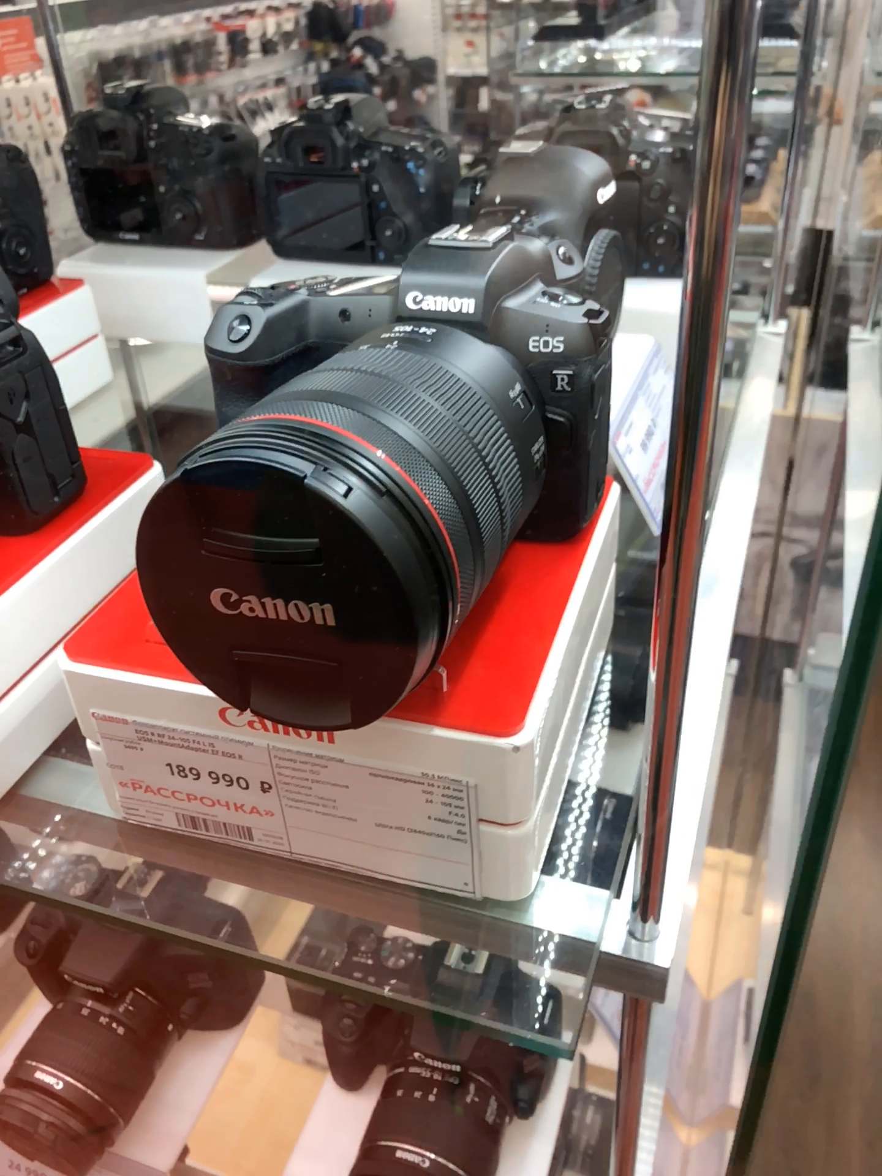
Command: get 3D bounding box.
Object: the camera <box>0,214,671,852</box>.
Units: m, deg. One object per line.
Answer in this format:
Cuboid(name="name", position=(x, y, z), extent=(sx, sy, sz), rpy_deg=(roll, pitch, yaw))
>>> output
Cuboid(name="camera", position=(-0.016, -0.038, 0.314), extent=(0.140, 0.110, 0.184), rpy_deg=(9, 36, 18))
